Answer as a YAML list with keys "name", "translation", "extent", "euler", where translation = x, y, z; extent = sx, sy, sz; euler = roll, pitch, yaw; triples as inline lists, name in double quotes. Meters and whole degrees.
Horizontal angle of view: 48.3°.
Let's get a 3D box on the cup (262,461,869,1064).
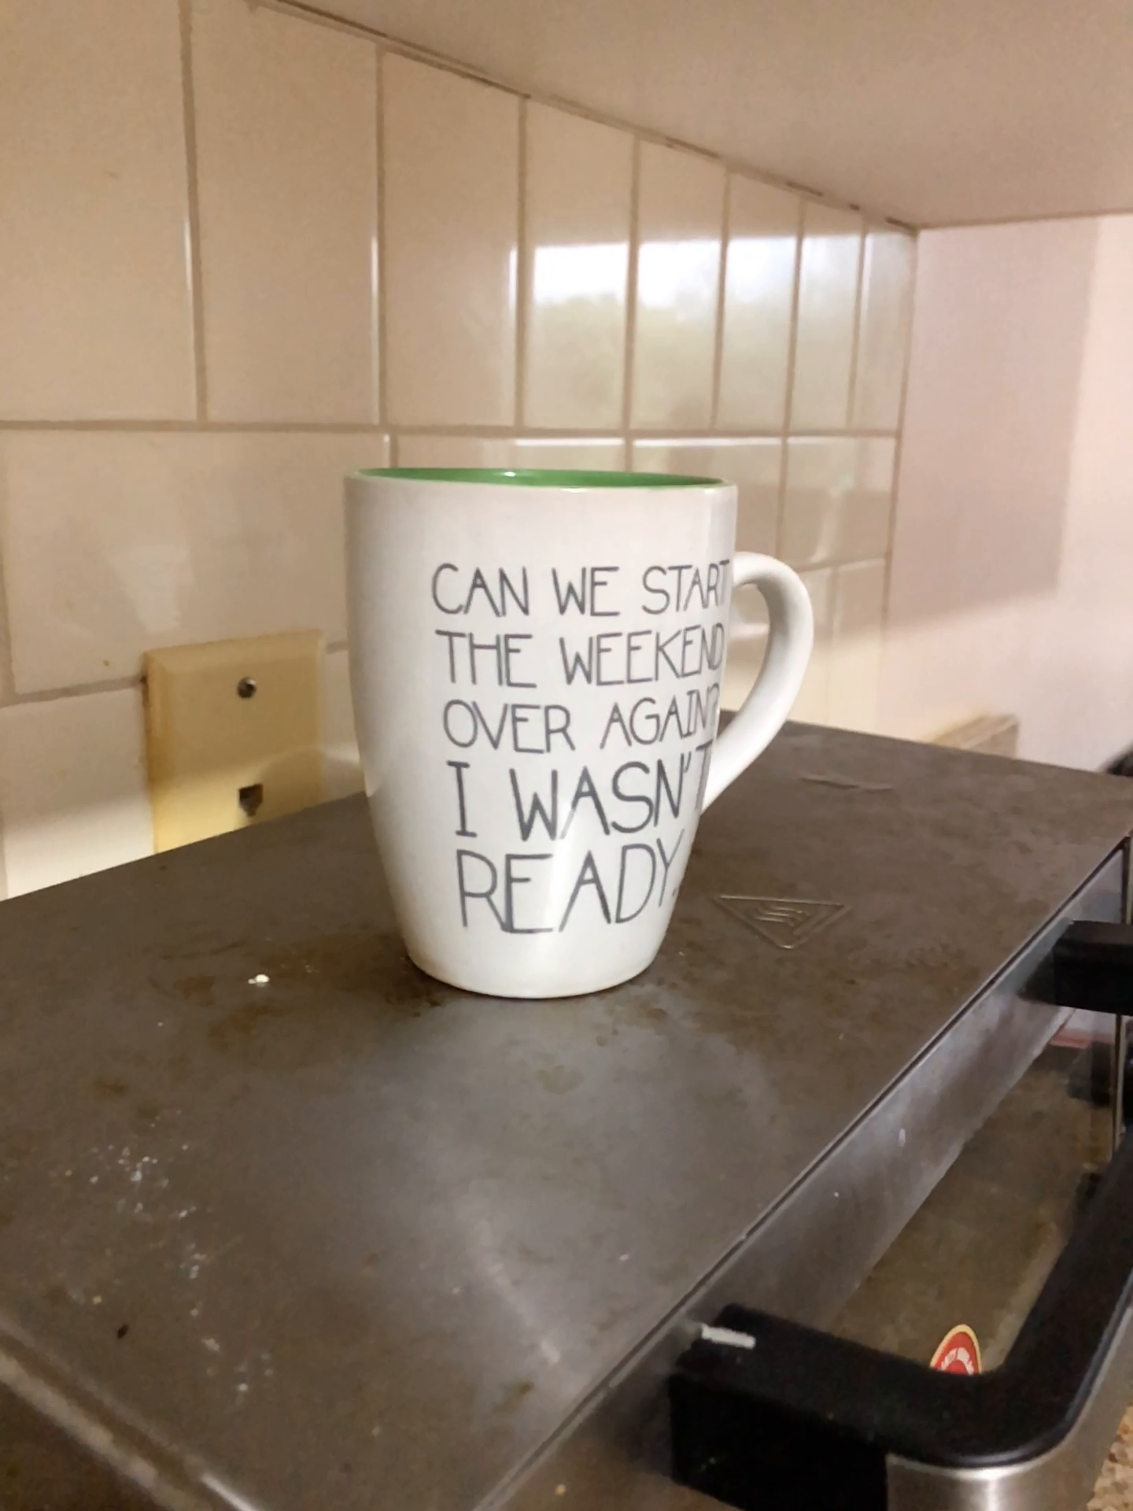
- name: "cup"
  translation: [-0.001, -0.009, 0.284]
  extent: [0.110, 0.110, 0.070]
  euler: [-7, 16, -31]
